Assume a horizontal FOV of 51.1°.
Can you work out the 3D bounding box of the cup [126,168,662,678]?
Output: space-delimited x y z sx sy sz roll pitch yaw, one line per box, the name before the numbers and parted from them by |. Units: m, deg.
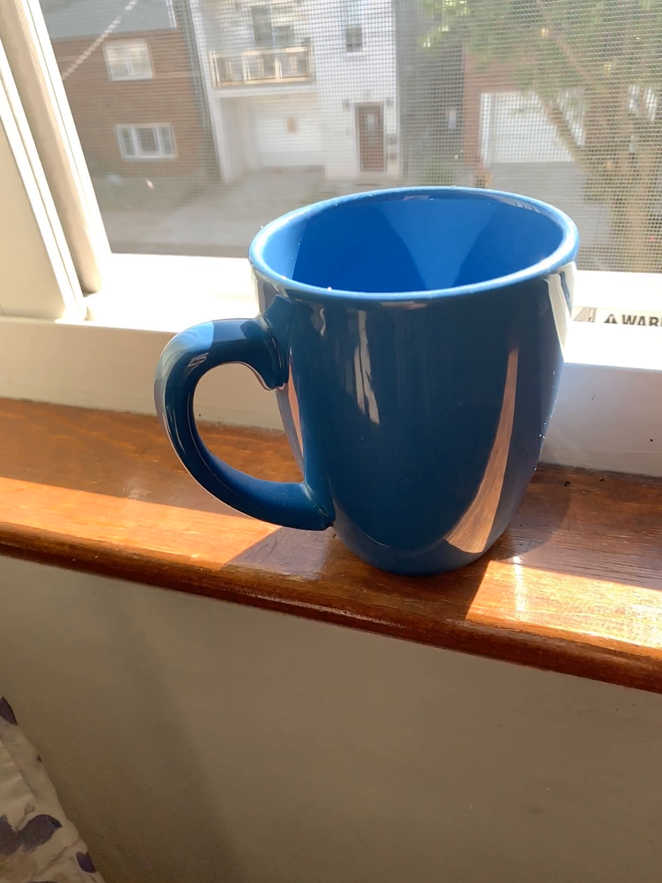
cup | 0.014 -0.012 0.204 0.113 0.095 0.082 -17 37 -14
